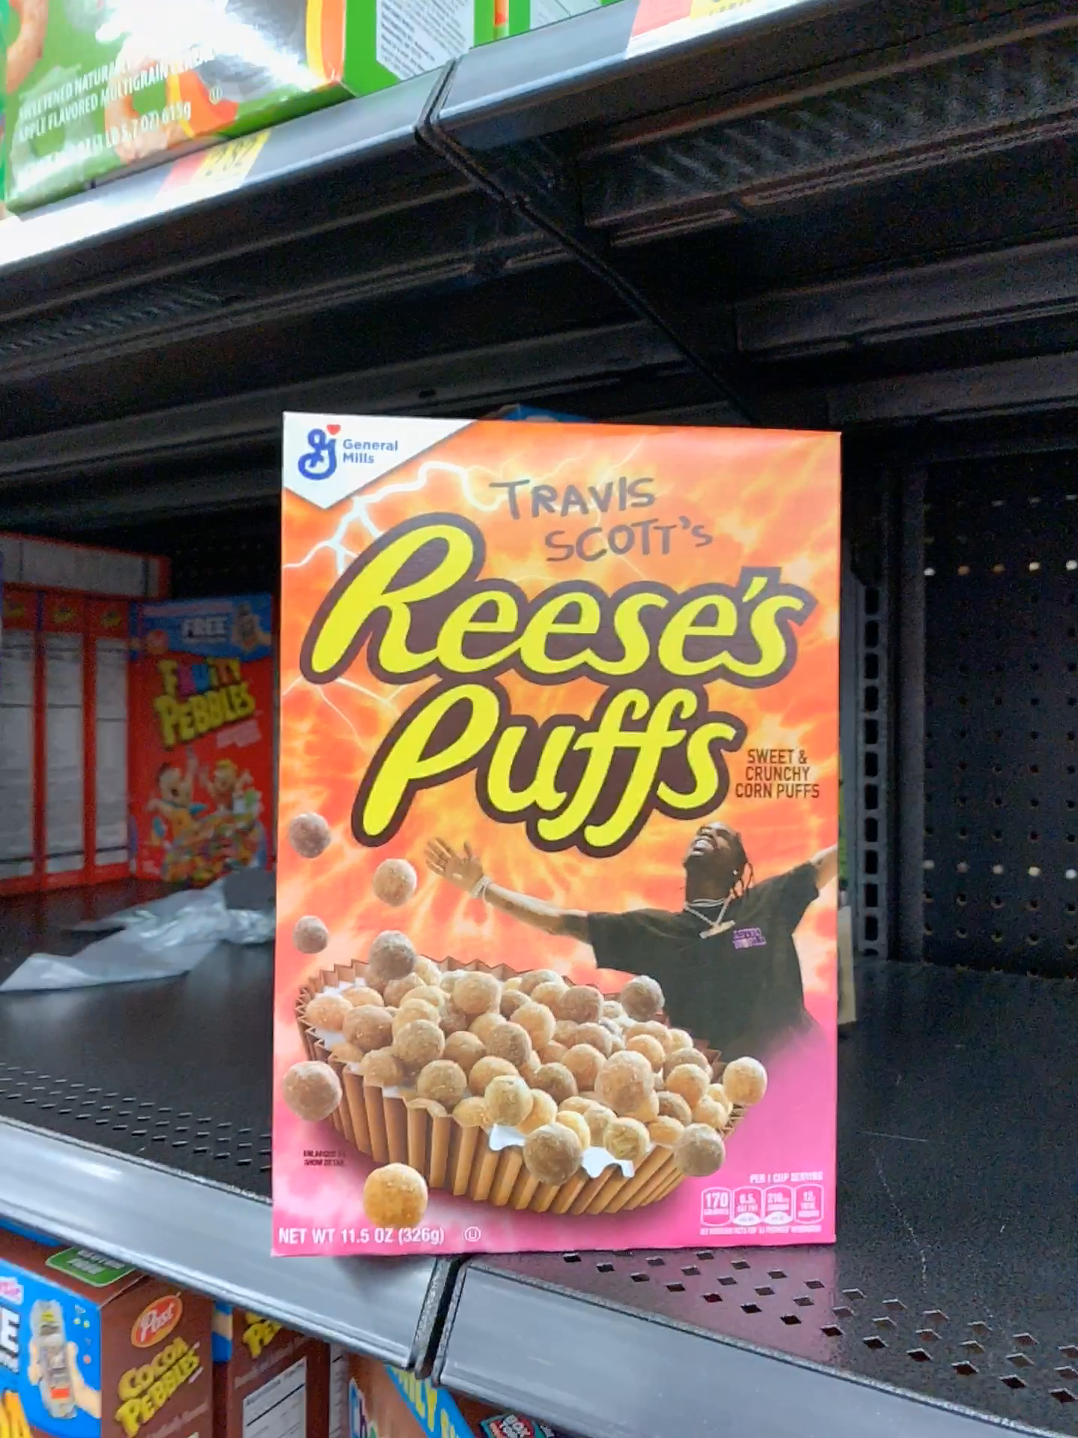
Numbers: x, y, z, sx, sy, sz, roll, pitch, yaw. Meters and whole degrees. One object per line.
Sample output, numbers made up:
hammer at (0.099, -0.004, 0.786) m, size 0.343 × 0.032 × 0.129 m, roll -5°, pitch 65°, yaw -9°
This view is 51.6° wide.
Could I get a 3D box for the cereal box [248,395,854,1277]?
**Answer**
cereal box at (0.004, 0.037, 0.398) m, size 0.200 × 0.290 × 0.050 m, roll 0°, pitch -2°, yaw -3°
